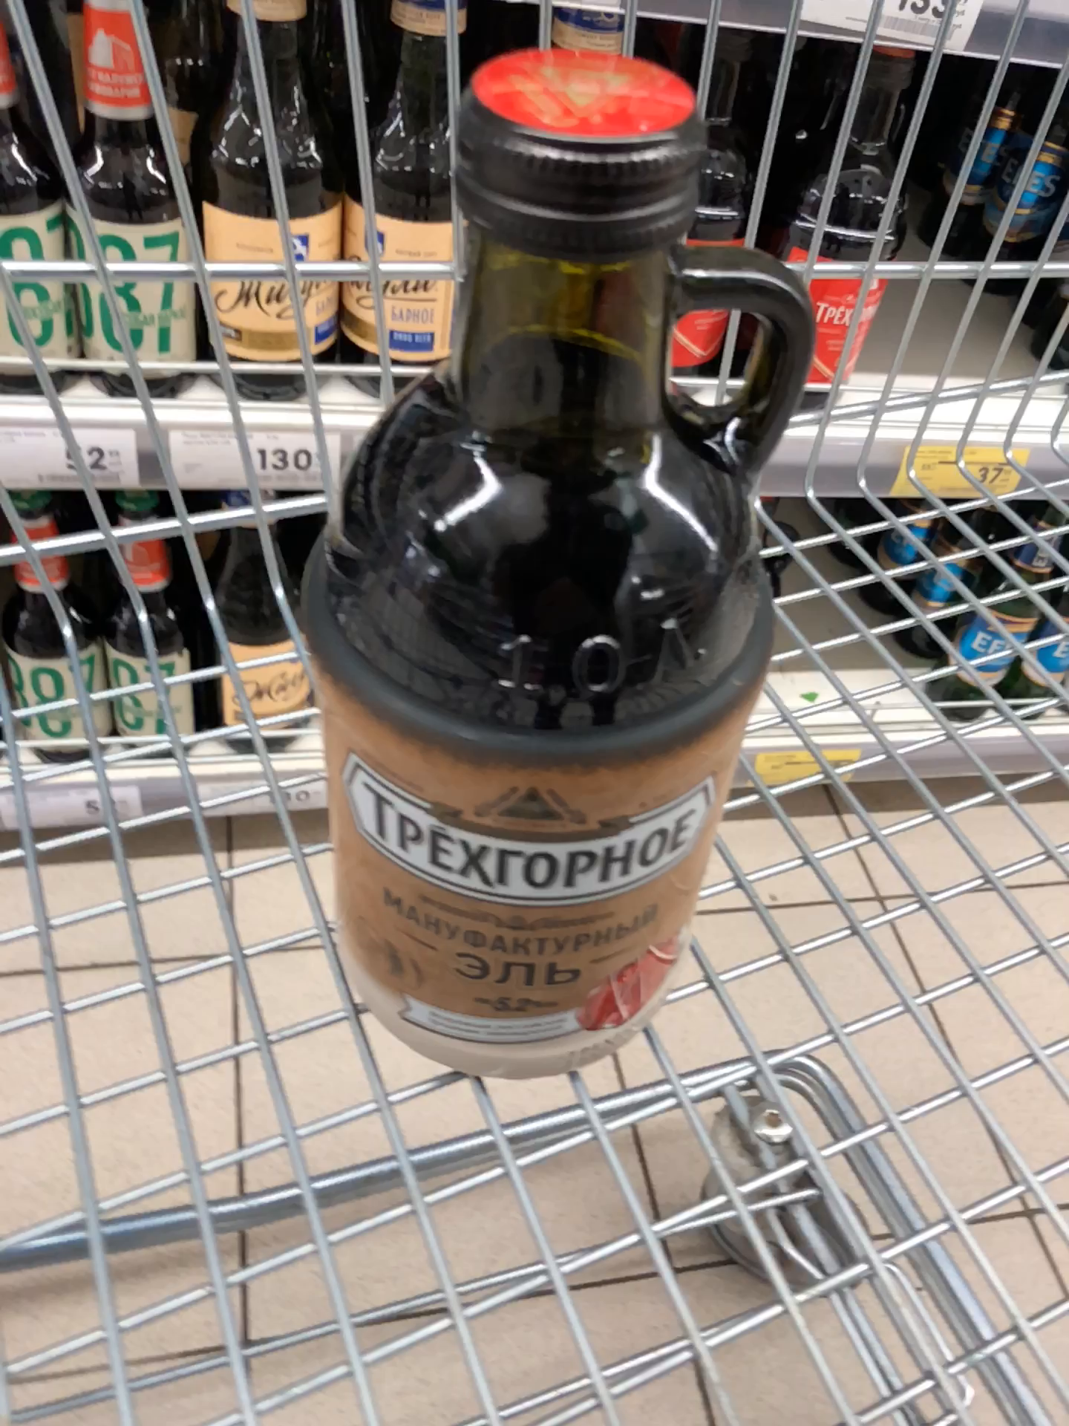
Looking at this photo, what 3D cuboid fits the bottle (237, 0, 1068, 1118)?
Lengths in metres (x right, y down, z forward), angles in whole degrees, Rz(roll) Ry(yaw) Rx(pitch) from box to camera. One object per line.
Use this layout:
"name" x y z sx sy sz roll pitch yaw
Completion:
"bottle" 0.011 -0.021 0.254 0.110 0.229 0.101 5 45 -5
